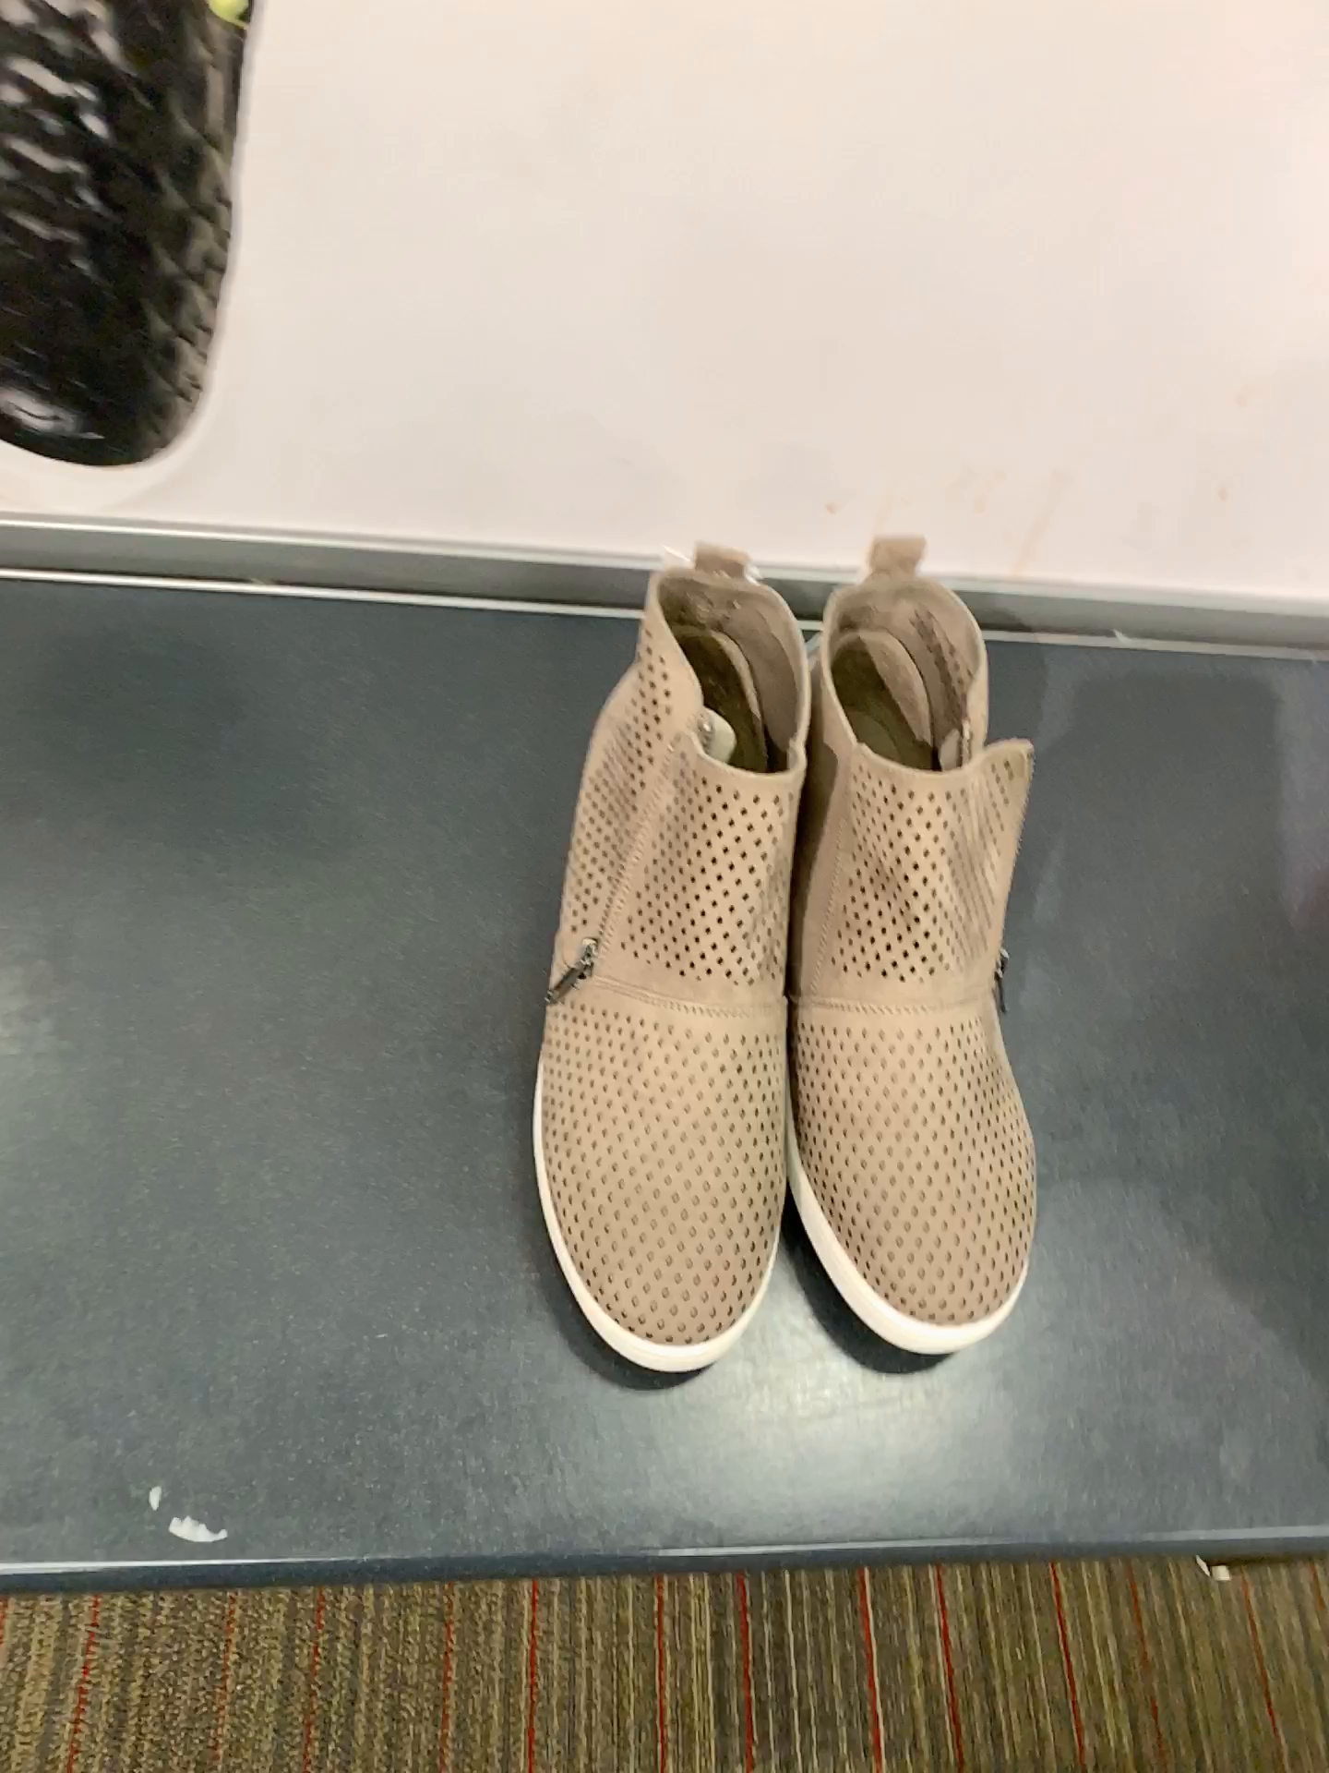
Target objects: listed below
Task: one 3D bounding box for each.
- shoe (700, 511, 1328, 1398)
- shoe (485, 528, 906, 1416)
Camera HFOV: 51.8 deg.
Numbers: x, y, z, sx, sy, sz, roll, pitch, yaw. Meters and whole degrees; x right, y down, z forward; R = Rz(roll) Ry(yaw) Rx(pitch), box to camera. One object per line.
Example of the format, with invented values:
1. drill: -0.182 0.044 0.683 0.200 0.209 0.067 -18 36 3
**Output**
1. shoe: 0.092 0.019 0.453 0.100 0.140 0.251 -4 60 -11
2. shoe: 0.005 0.028 0.454 0.100 0.140 0.251 6 59 -5
